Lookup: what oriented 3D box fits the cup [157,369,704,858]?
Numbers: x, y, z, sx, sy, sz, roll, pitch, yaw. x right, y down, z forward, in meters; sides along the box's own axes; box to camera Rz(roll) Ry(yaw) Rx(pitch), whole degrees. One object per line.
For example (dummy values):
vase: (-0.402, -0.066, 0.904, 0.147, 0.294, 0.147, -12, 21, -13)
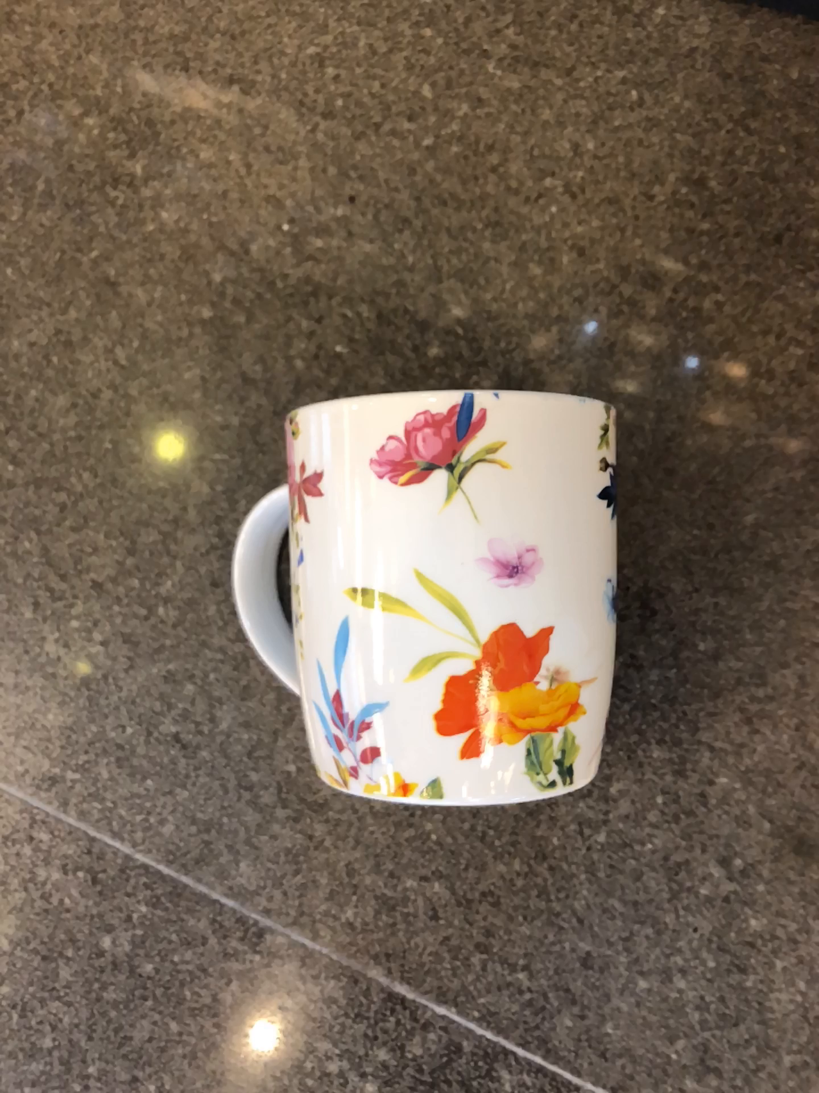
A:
cup: (0.001, 0.014, 0.241, 0.120, 0.080, 0.090, -3, 87, 46)
